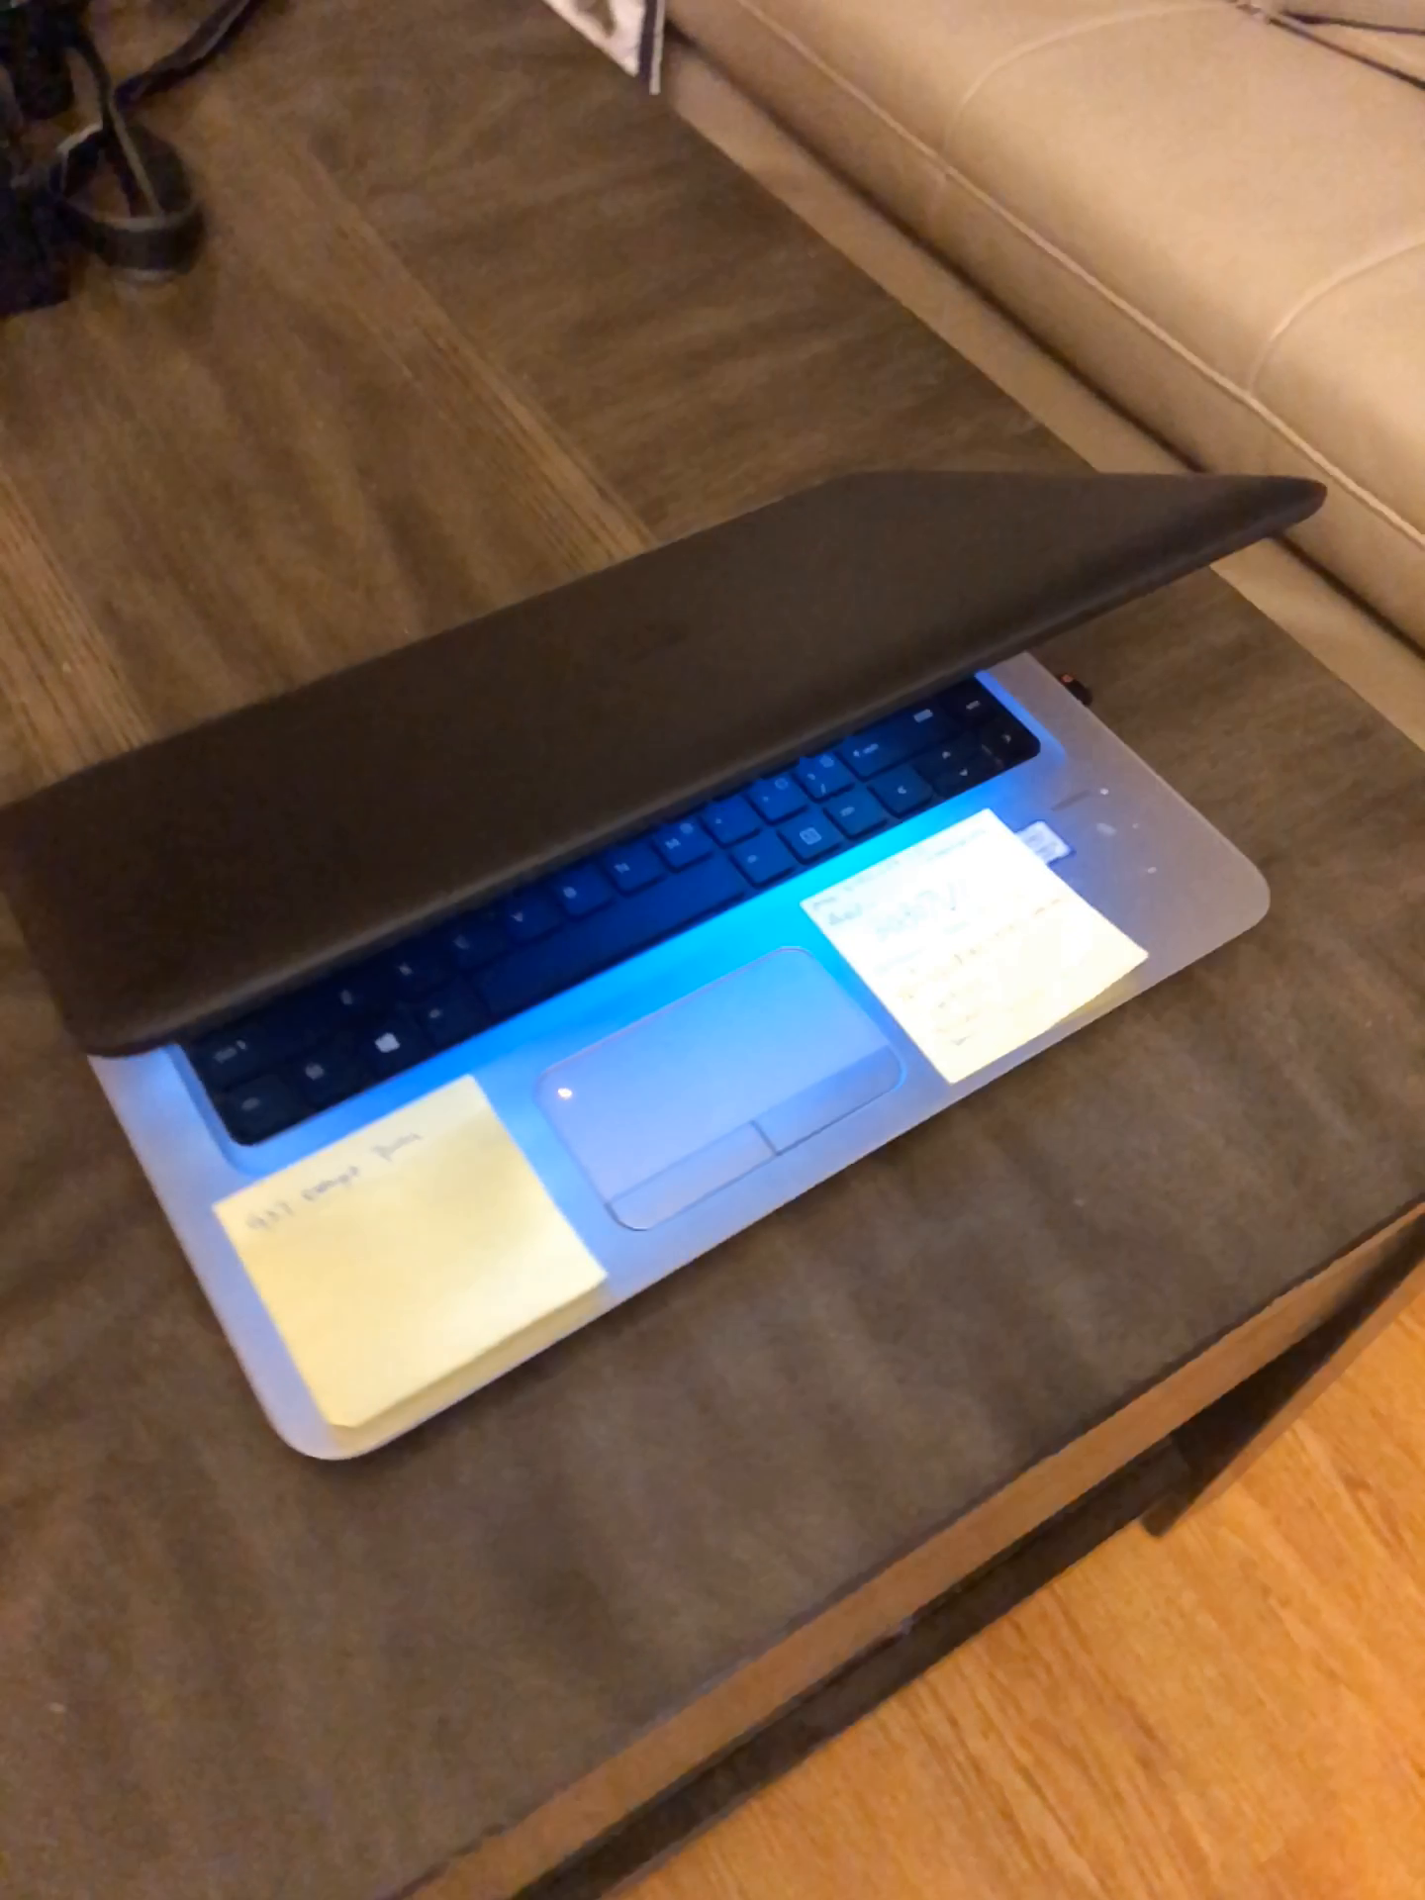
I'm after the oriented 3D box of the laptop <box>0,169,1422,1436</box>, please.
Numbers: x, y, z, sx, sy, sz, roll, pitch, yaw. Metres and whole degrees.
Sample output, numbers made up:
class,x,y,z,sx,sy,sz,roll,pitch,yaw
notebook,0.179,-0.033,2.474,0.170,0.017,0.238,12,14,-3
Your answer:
class,x,y,z,sx,sy,sz,roll,pitch,yaw
laptop,-0.018,-0.067,0.439,0.324,0.131,0.226,-27,60,-23
